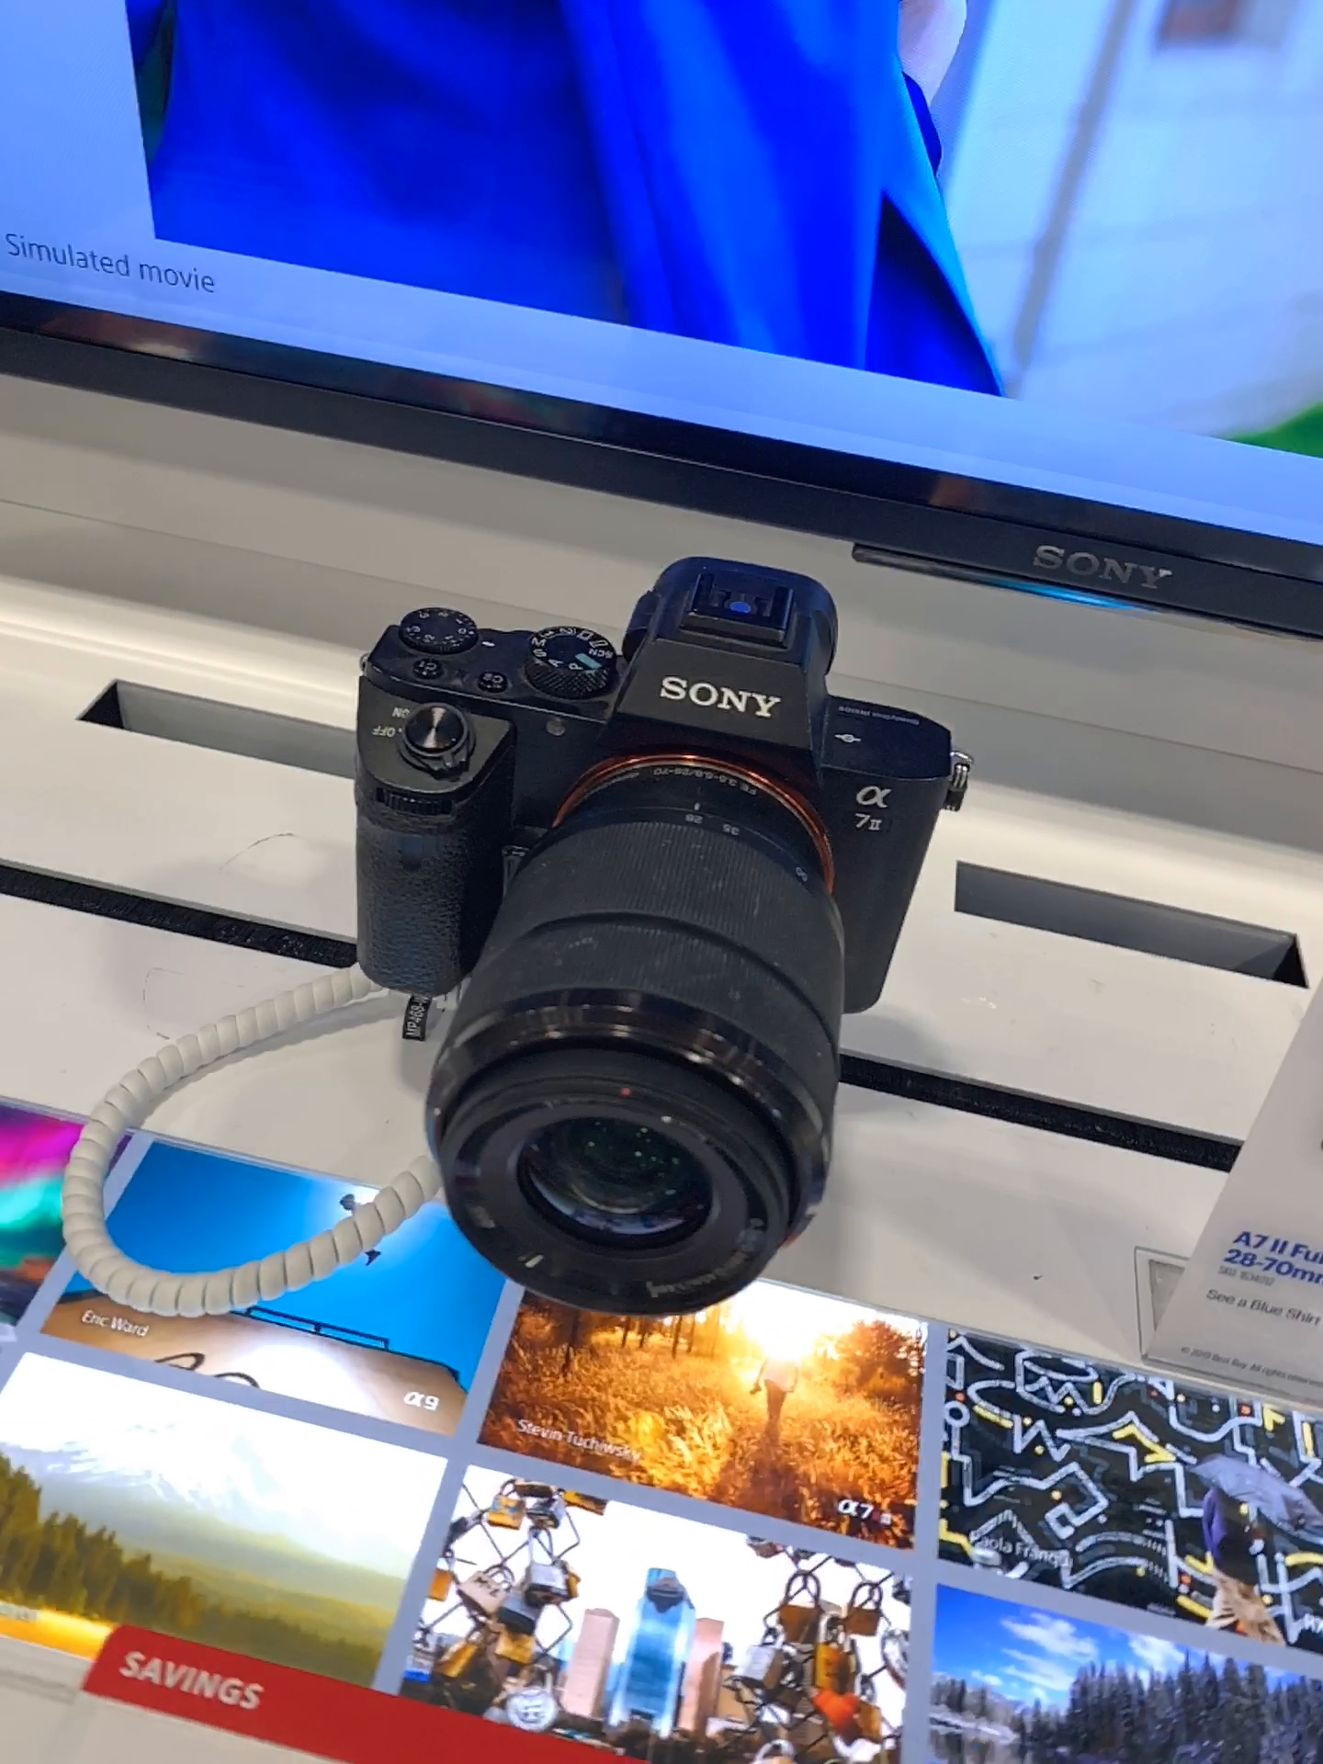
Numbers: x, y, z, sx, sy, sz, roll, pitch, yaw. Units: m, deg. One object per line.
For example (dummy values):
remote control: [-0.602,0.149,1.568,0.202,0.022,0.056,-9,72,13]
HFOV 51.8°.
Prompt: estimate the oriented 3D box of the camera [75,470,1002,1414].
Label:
camera: [-0.010,0.002,0.269,0.130,0.090,0.142,12,41,5]
